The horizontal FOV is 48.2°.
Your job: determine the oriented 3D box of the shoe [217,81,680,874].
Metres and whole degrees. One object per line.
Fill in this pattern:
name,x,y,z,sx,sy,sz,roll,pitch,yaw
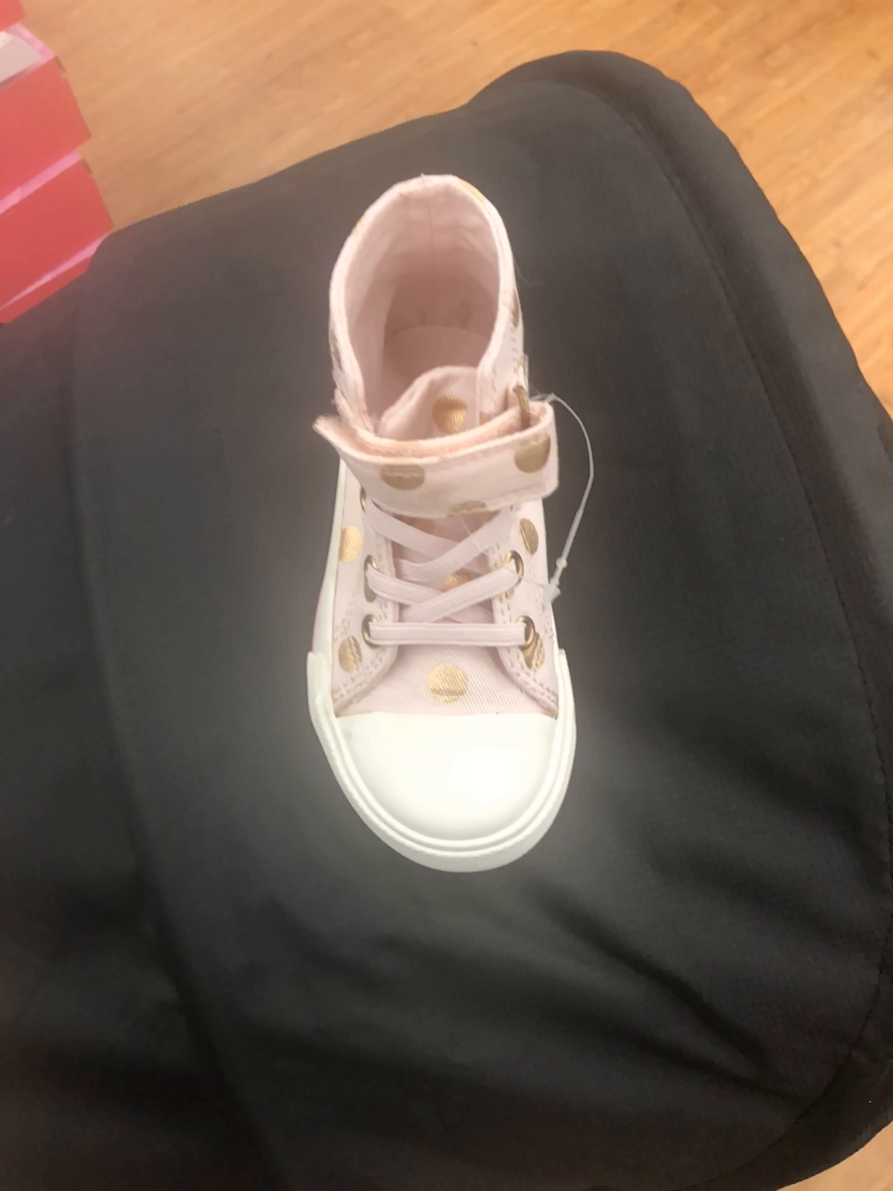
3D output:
shoe,0.000,-0.025,0.252,0.080,0.100,0.170,-1,67,1
